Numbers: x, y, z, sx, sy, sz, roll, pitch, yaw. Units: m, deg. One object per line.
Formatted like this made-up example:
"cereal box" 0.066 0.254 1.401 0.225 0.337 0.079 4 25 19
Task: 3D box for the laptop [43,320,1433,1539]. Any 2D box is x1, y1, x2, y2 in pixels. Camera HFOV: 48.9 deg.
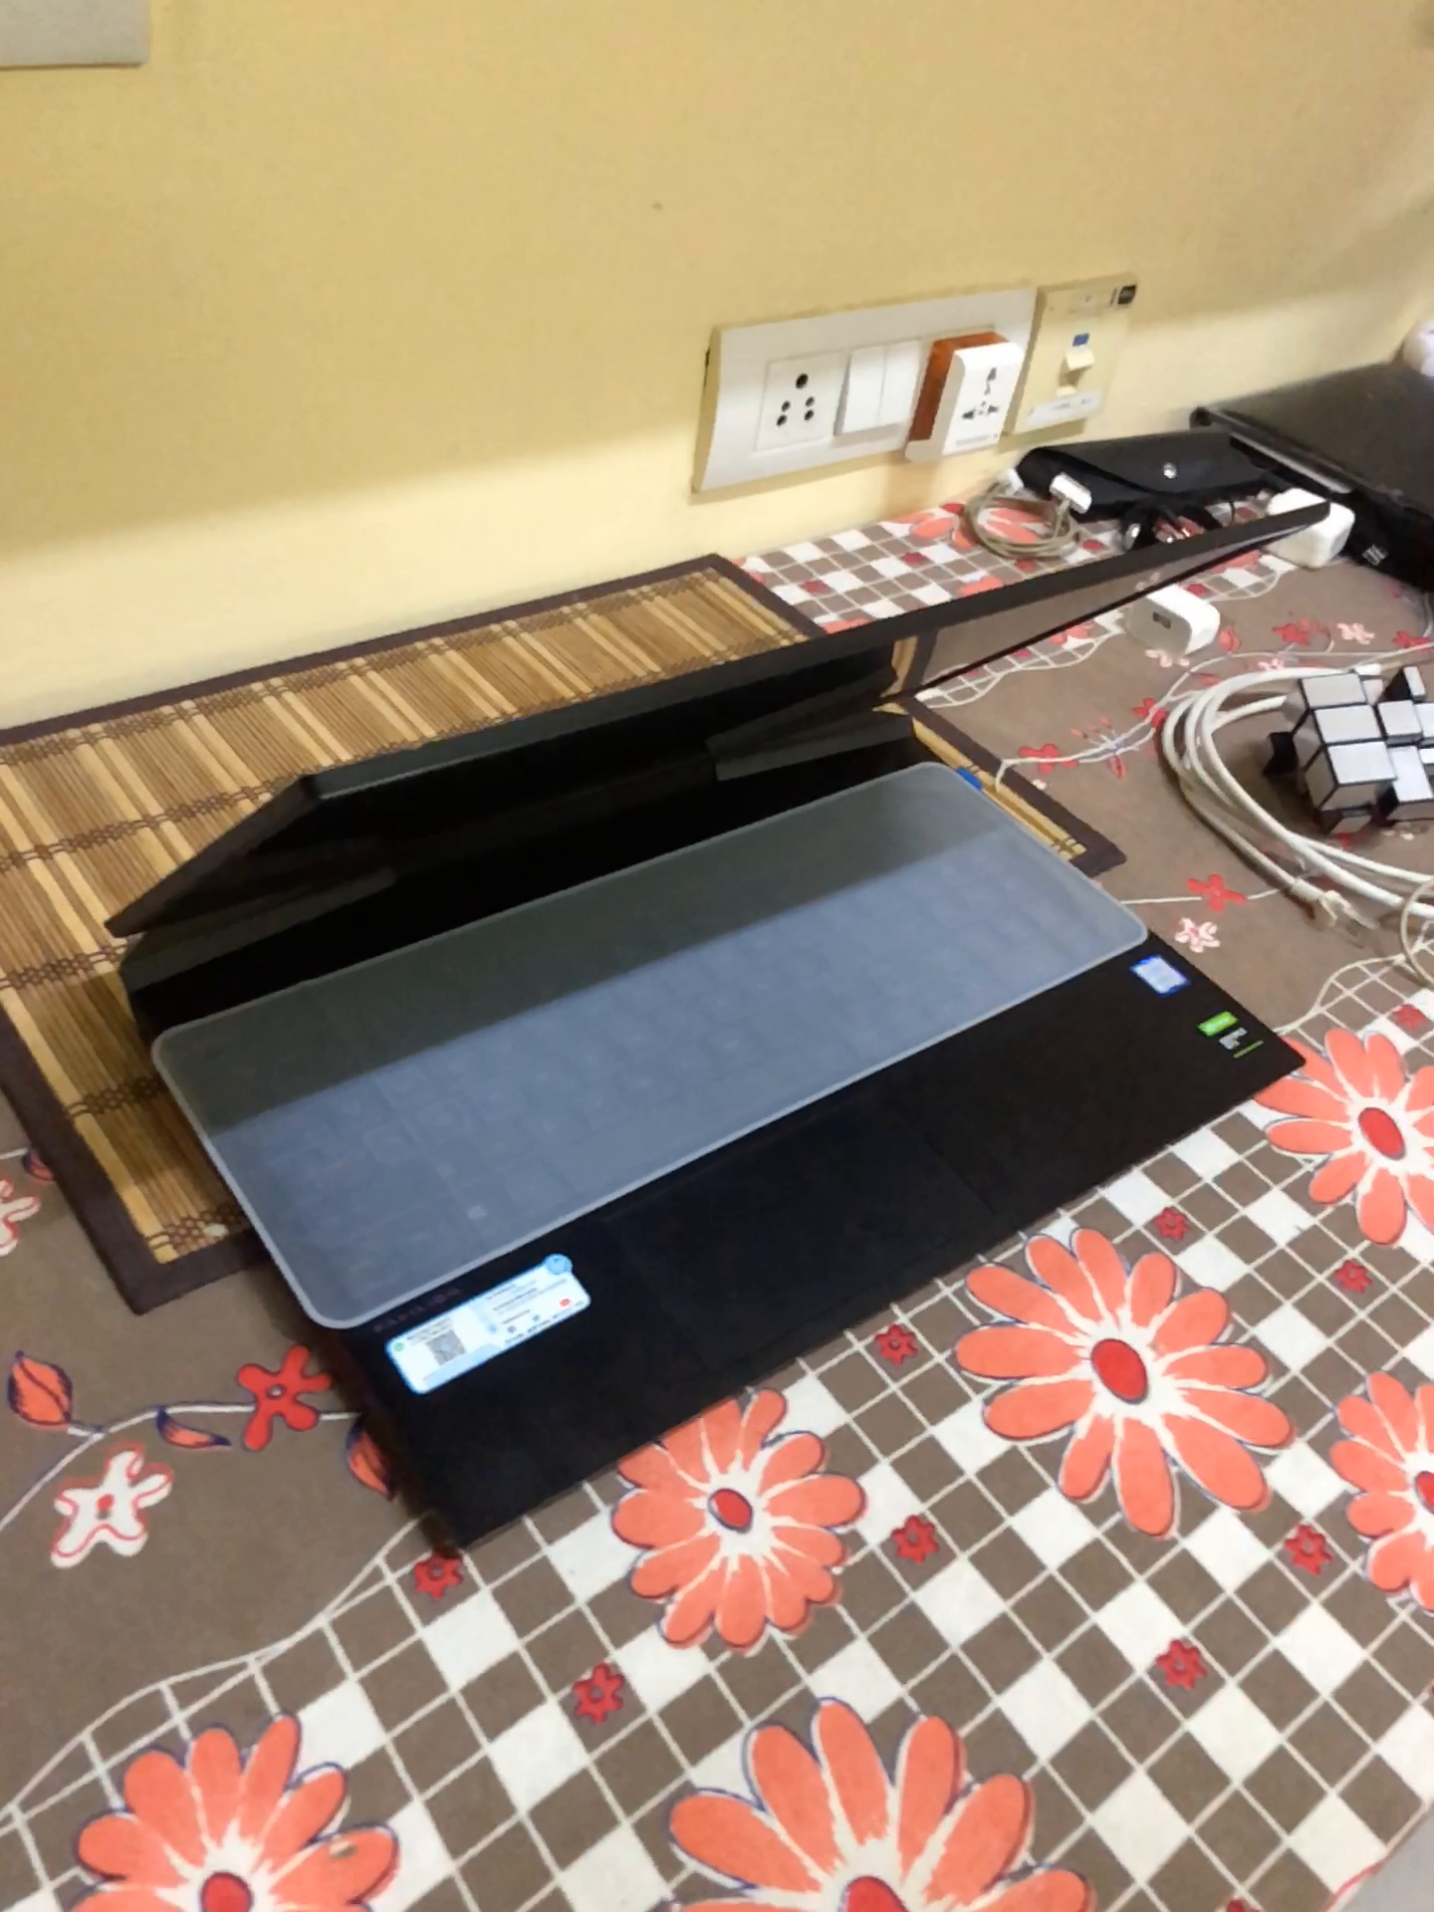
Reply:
"laptop" 0.019 -0.043 0.511 0.357 0.164 0.237 -22 54 -29
